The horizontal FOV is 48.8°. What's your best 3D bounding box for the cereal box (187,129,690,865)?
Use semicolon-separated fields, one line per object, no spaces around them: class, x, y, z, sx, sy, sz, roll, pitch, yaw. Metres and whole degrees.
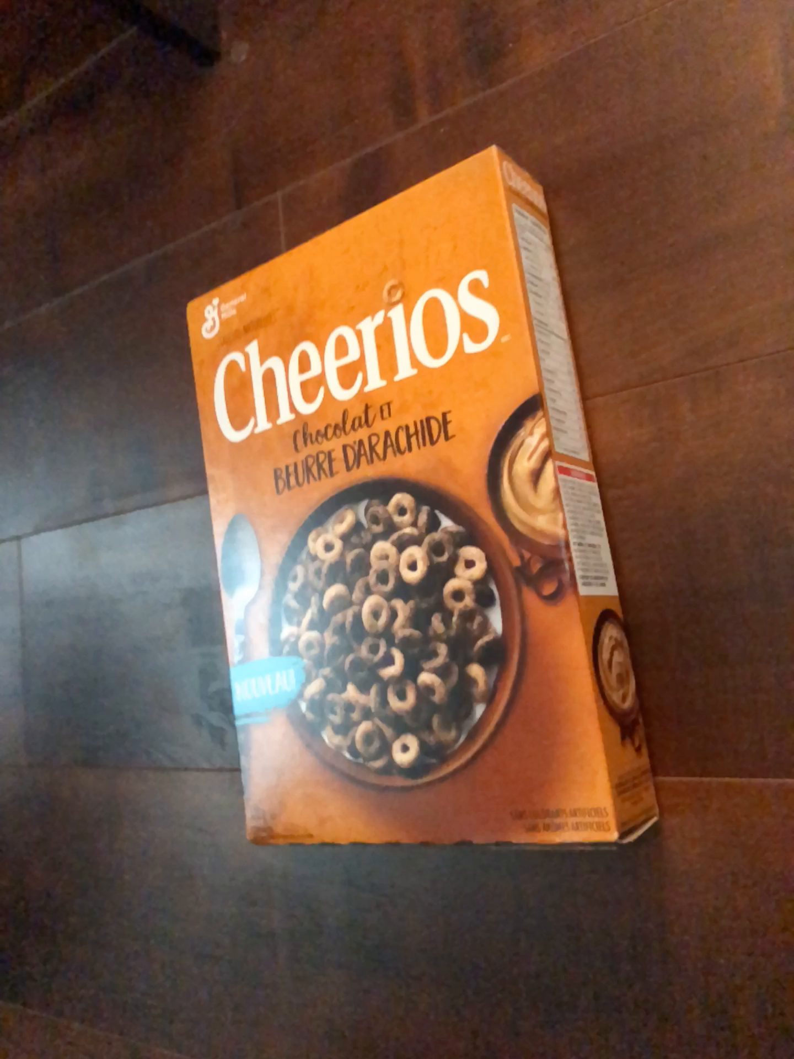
cereal box;0.004;-0.001;0.427;0.201;0.060;0.300;-15;79;34
